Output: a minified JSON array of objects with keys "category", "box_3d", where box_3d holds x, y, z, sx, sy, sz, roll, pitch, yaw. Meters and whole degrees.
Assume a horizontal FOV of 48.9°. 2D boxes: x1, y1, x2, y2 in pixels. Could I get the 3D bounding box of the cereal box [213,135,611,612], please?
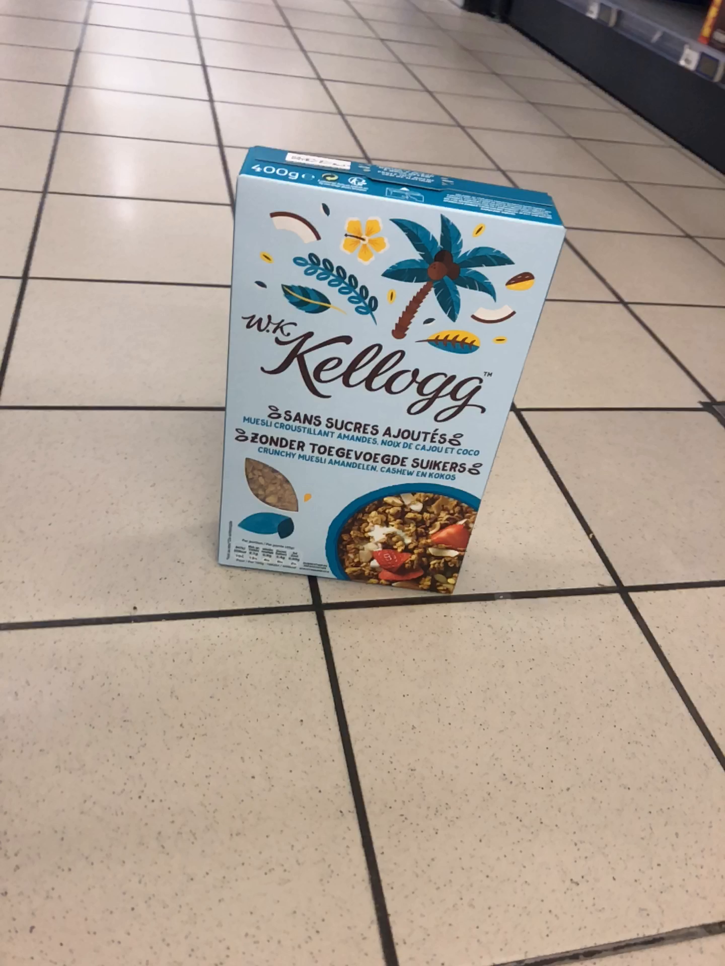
[{"category":"cereal box","box_3d":[0.009,-0.041,0.425,0.160,0.238,0.050,8,38,-4]}]
